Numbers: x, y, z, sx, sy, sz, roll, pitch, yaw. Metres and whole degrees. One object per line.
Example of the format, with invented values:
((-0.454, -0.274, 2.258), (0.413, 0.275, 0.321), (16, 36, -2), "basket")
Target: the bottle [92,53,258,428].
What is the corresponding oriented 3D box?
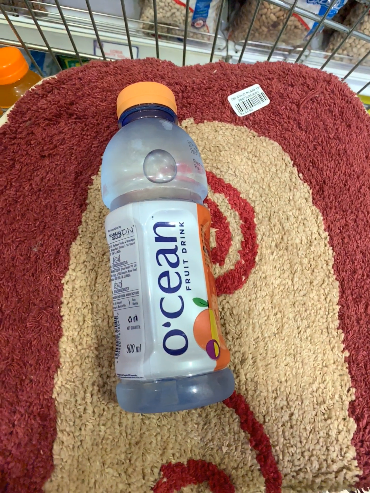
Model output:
((-0.013, -0.006, 0.218), (0.070, 0.060, 0.180), (-2, 81, -15), "bottle")
